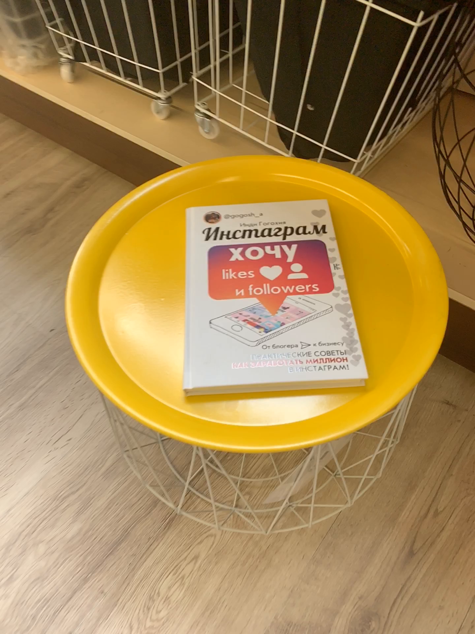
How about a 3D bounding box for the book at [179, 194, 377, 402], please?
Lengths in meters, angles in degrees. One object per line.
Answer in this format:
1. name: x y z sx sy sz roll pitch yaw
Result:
1. book: 0.029 -0.033 0.495 0.170 0.020 0.241 -3 54 0
